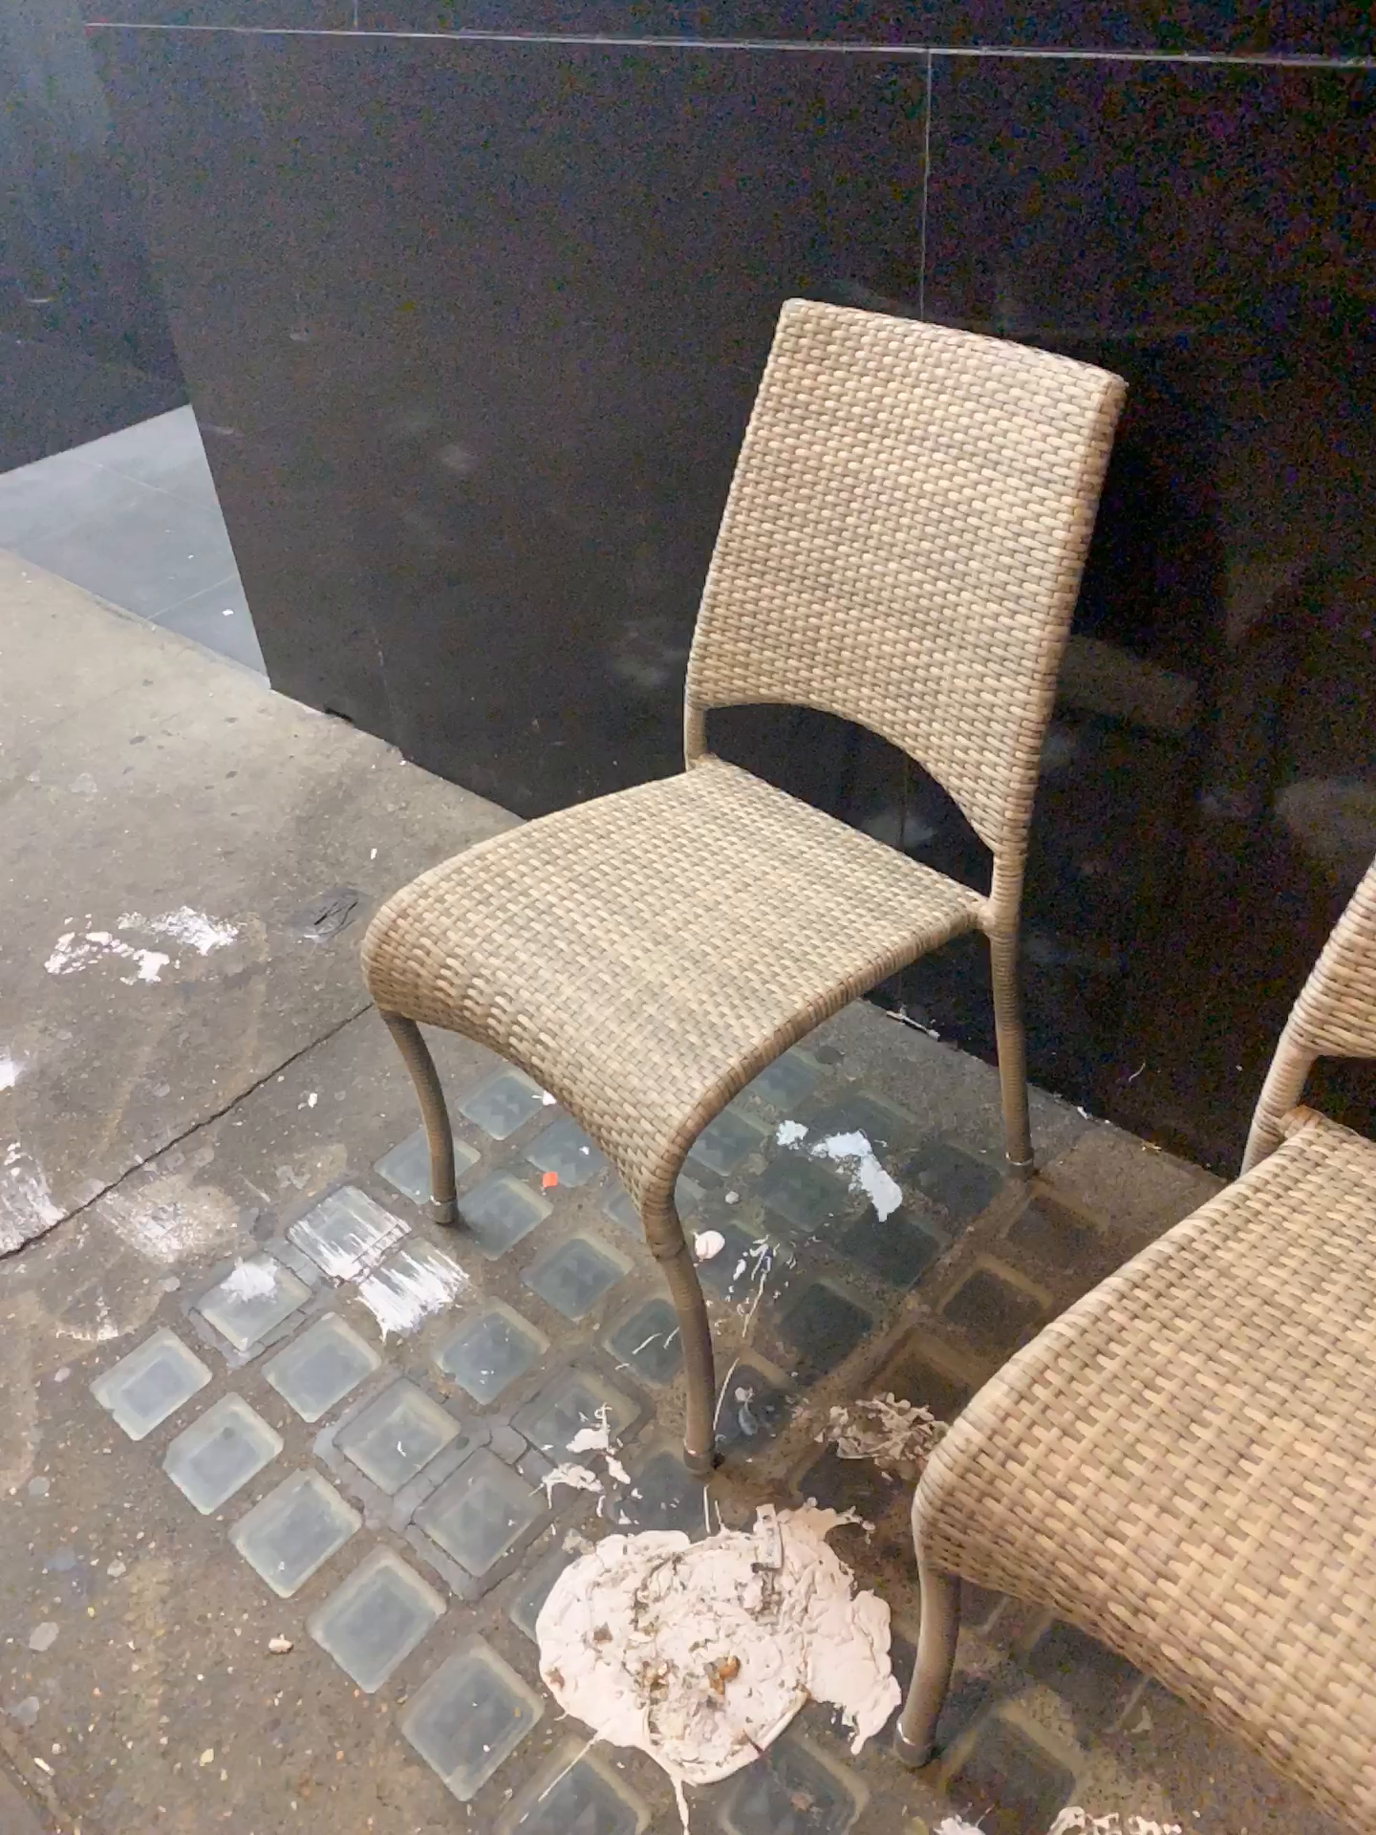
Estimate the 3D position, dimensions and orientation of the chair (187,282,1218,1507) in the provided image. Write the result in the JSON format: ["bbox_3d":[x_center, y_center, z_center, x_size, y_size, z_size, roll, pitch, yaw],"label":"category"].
[{"bbox_3d":[0.042,-0.045,1.297,0.612,0.831,0.483,-31,44,-30],"label":"chair"}]

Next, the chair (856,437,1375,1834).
[{"bbox_3d":[0.565,0.275,0.847,0.602,0.901,0.584,-23,40,-34],"label":"chair"}]
